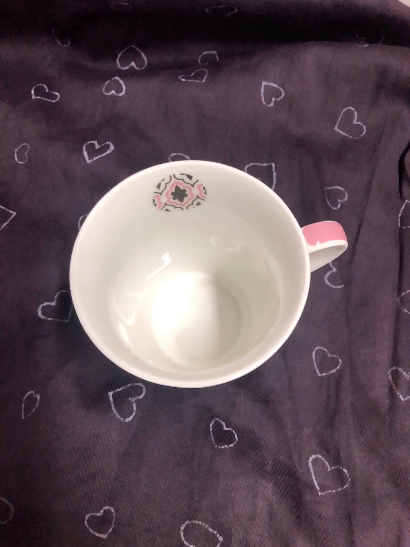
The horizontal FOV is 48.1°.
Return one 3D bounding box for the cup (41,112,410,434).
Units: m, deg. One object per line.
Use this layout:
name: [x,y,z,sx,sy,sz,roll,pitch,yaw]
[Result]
cup: [0.008,0.004,0.207,0.120,0.080,0.090,-18,70,-8]
